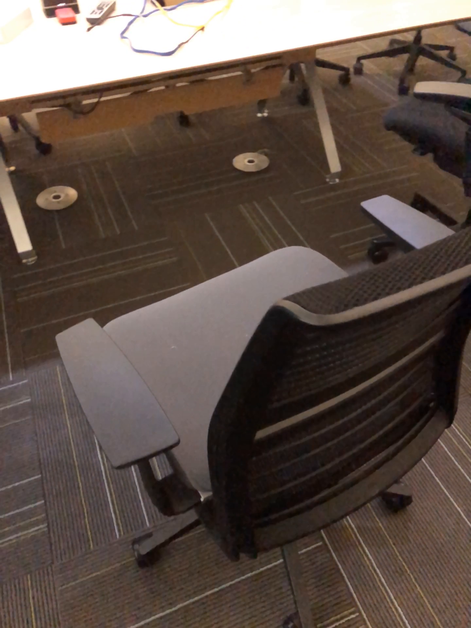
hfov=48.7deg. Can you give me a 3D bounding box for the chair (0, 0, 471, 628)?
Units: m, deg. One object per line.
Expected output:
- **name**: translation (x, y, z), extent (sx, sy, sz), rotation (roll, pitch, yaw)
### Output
- **chair**: translation (0.072, 0.057, 0.868), extent (0.721, 0.856, 0.662), rotation (-27, 49, -23)
